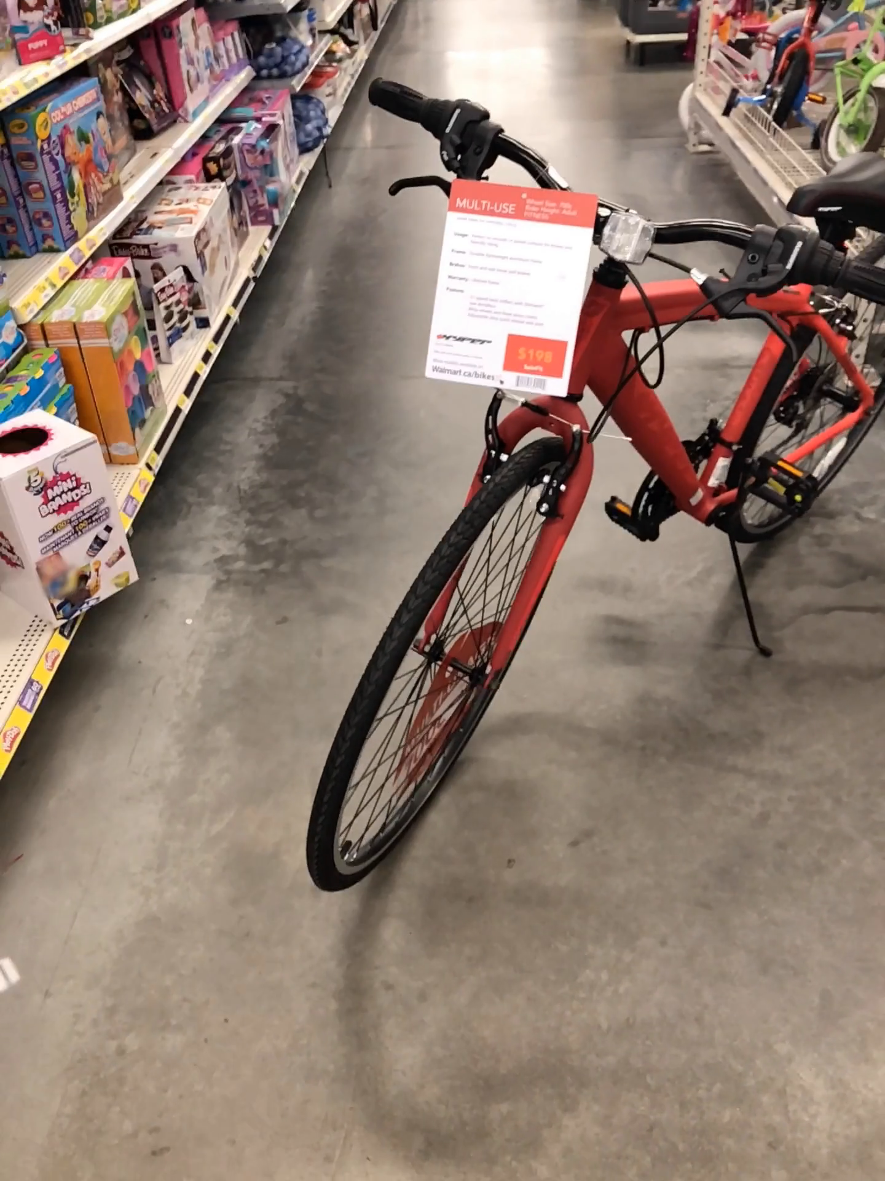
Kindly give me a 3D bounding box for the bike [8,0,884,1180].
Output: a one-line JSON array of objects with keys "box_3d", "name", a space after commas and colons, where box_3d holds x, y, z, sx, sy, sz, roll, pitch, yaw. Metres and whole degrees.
[{"box_3d": [0.418, -0.232, 1.487, 0.615, 1.000, 1.691, 28, 49, 33], "name": "bike"}]
